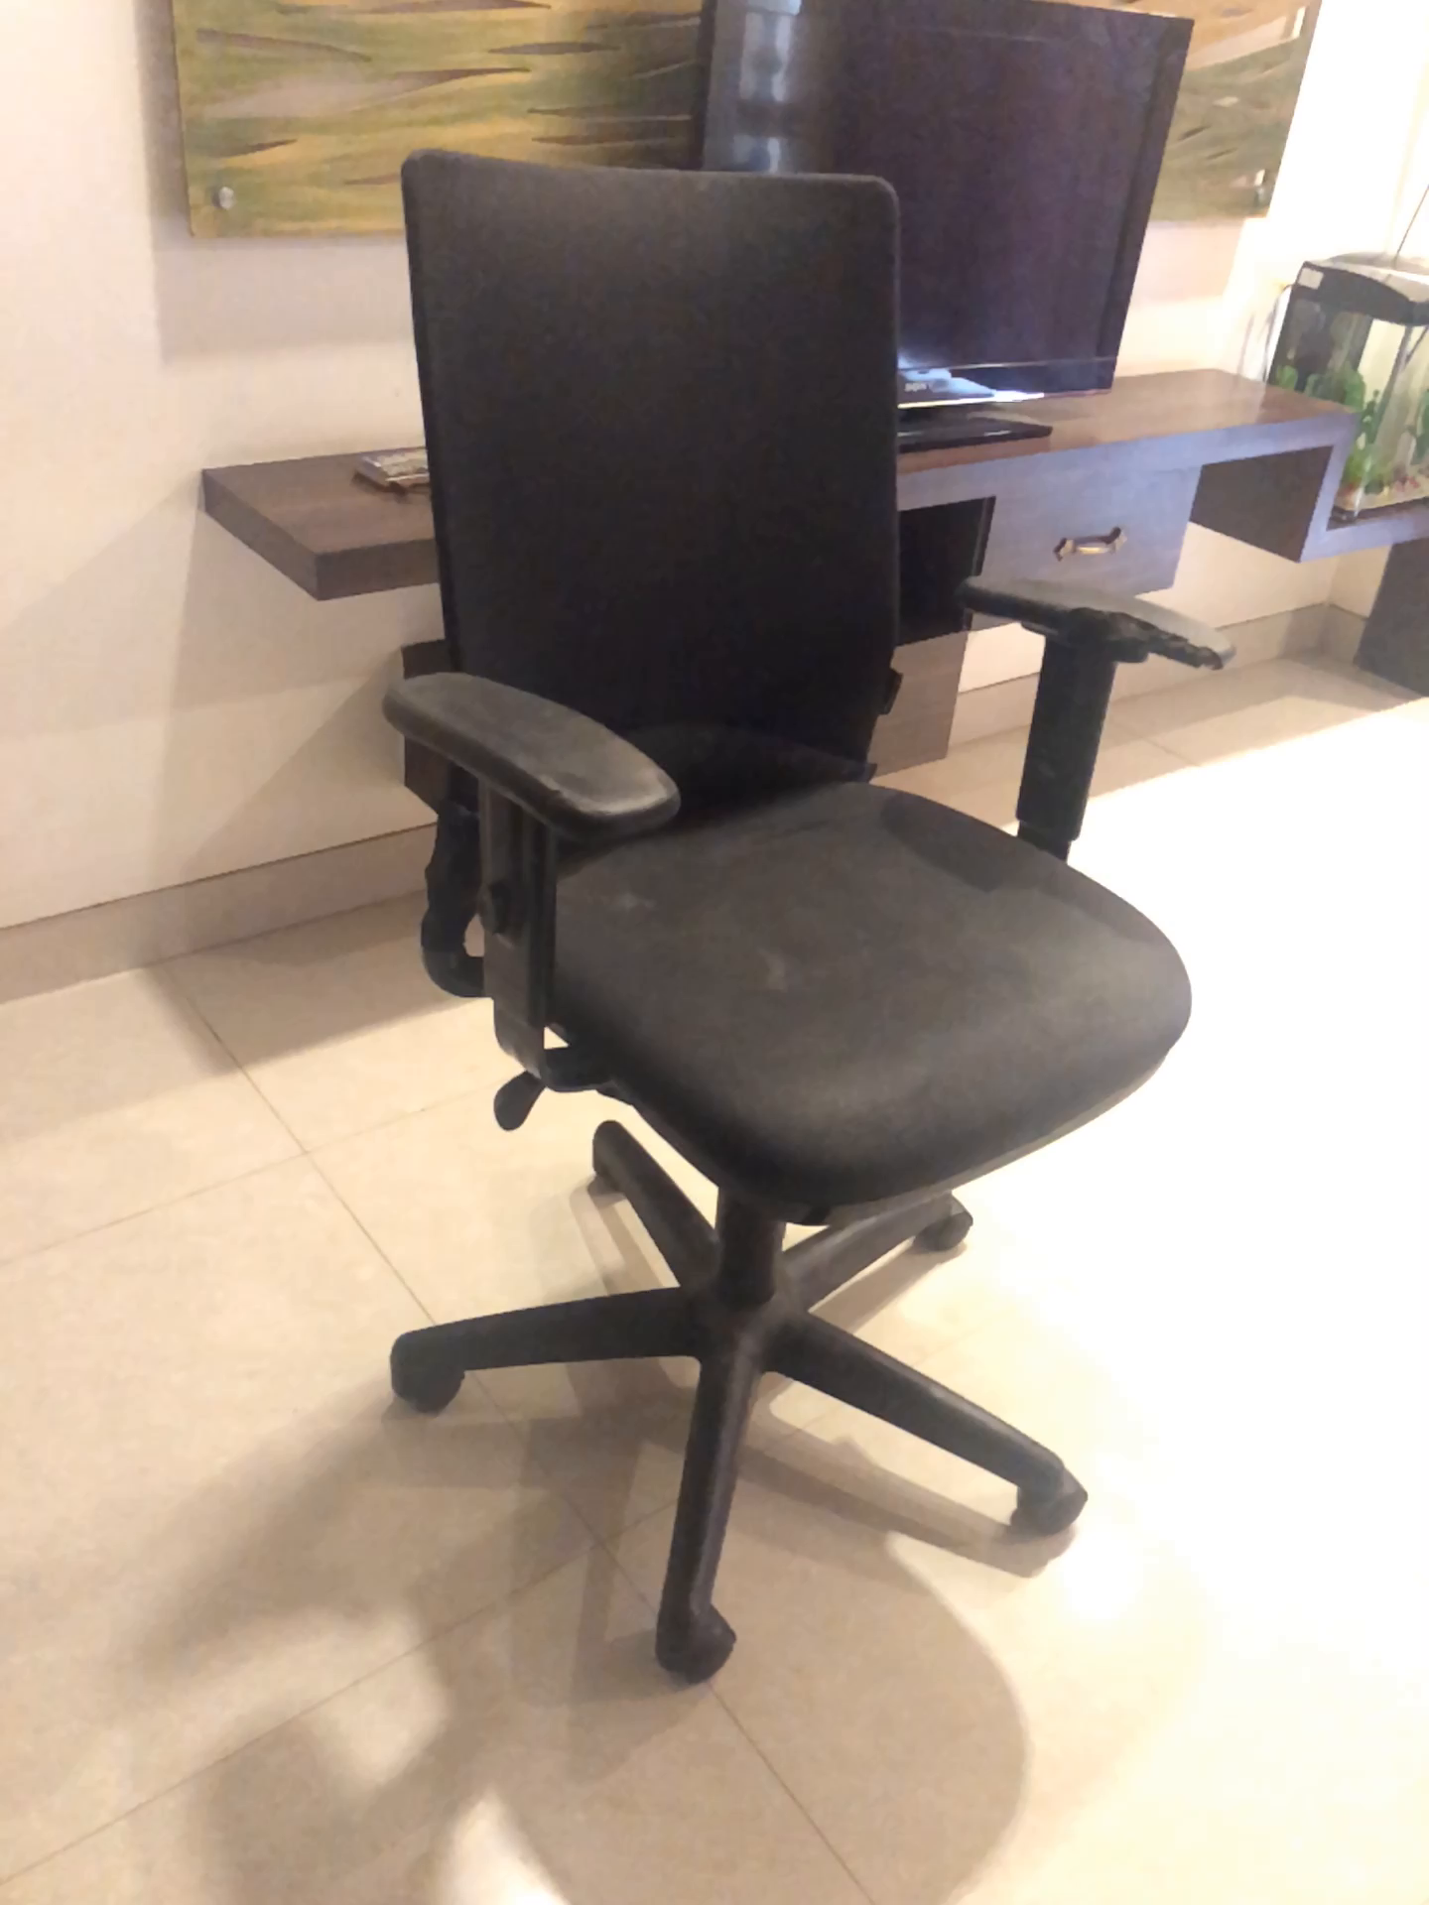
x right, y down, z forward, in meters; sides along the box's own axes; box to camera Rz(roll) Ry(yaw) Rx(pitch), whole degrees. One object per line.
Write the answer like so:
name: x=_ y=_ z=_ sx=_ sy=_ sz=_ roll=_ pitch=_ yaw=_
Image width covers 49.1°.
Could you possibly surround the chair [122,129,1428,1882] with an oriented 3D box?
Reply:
chair: x=0.068 y=-0.034 z=1.275 sx=0.712 sy=1.042 sz=0.703 roll=-21 pitch=41 yaw=-36
